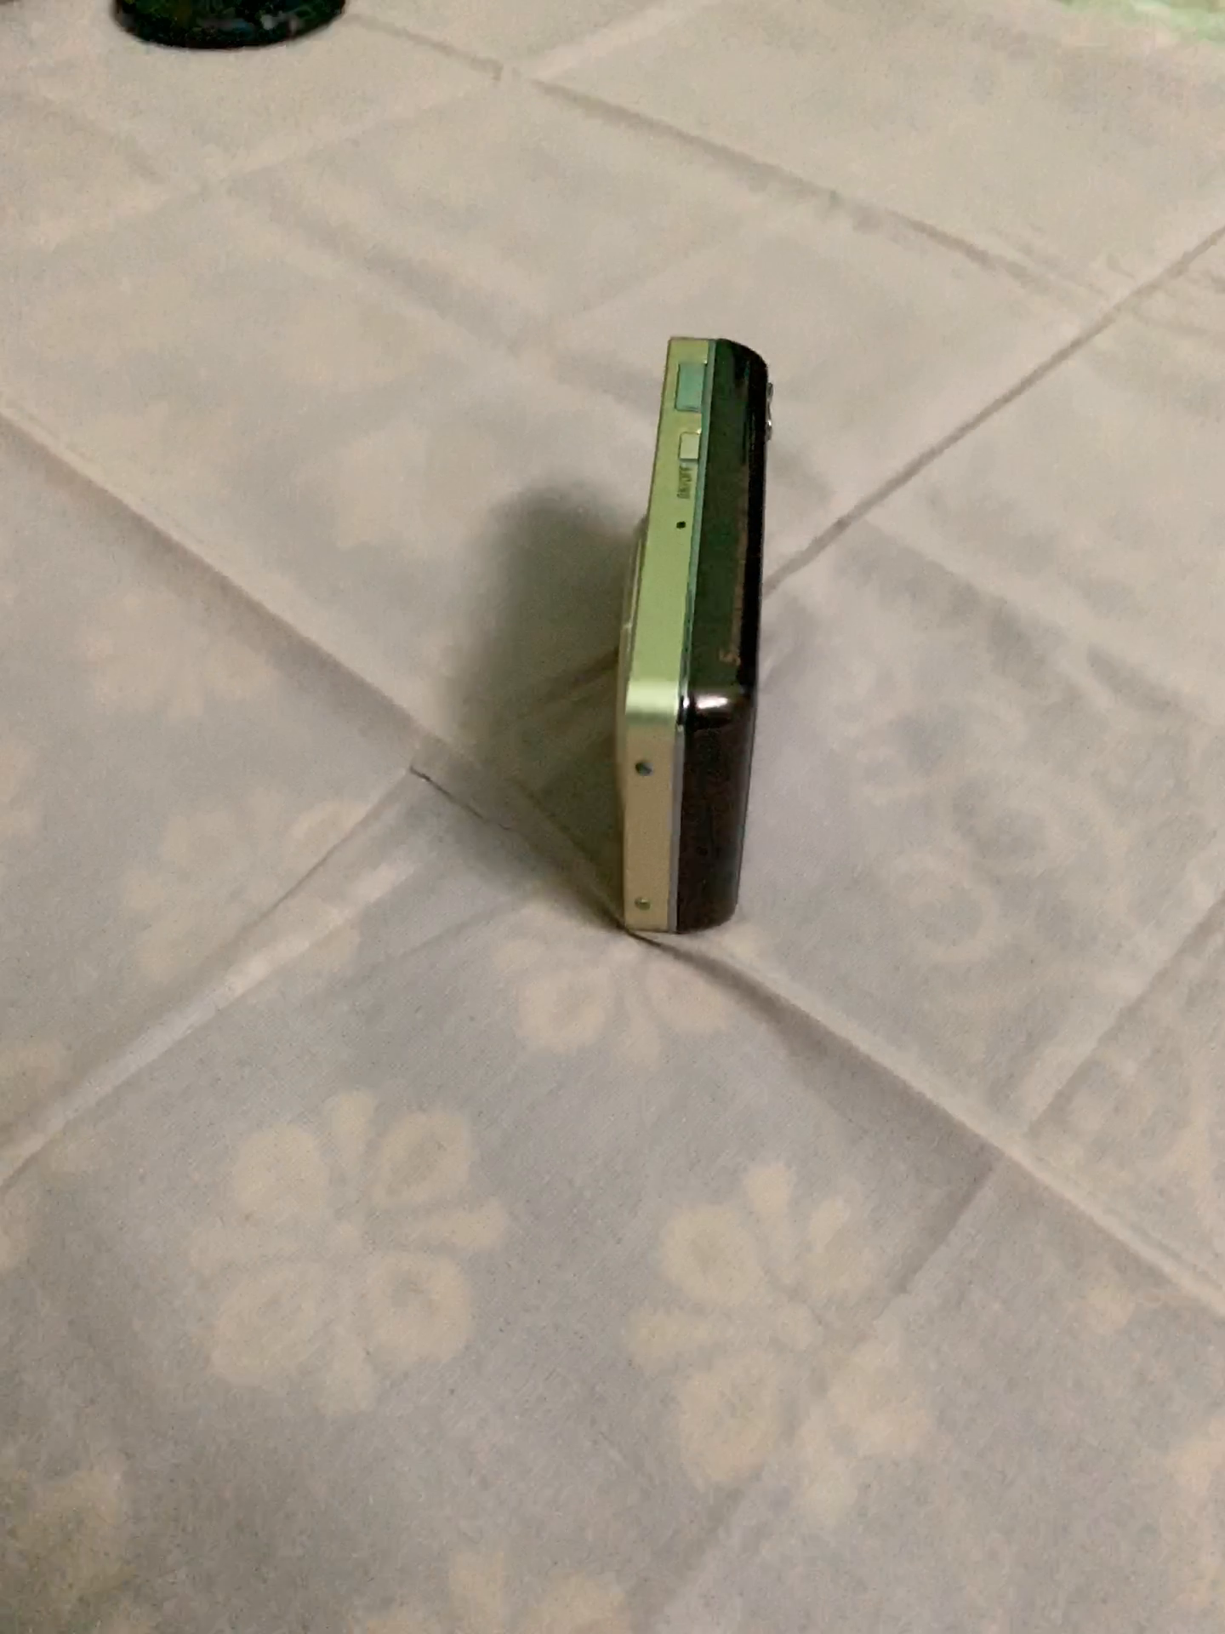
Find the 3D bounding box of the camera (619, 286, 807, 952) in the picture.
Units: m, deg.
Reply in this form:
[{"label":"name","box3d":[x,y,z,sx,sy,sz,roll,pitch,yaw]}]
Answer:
[{"label":"camera","box3d":[0.016,-0.033,0.201,0.021,0.060,0.089,5,49,3]}]
